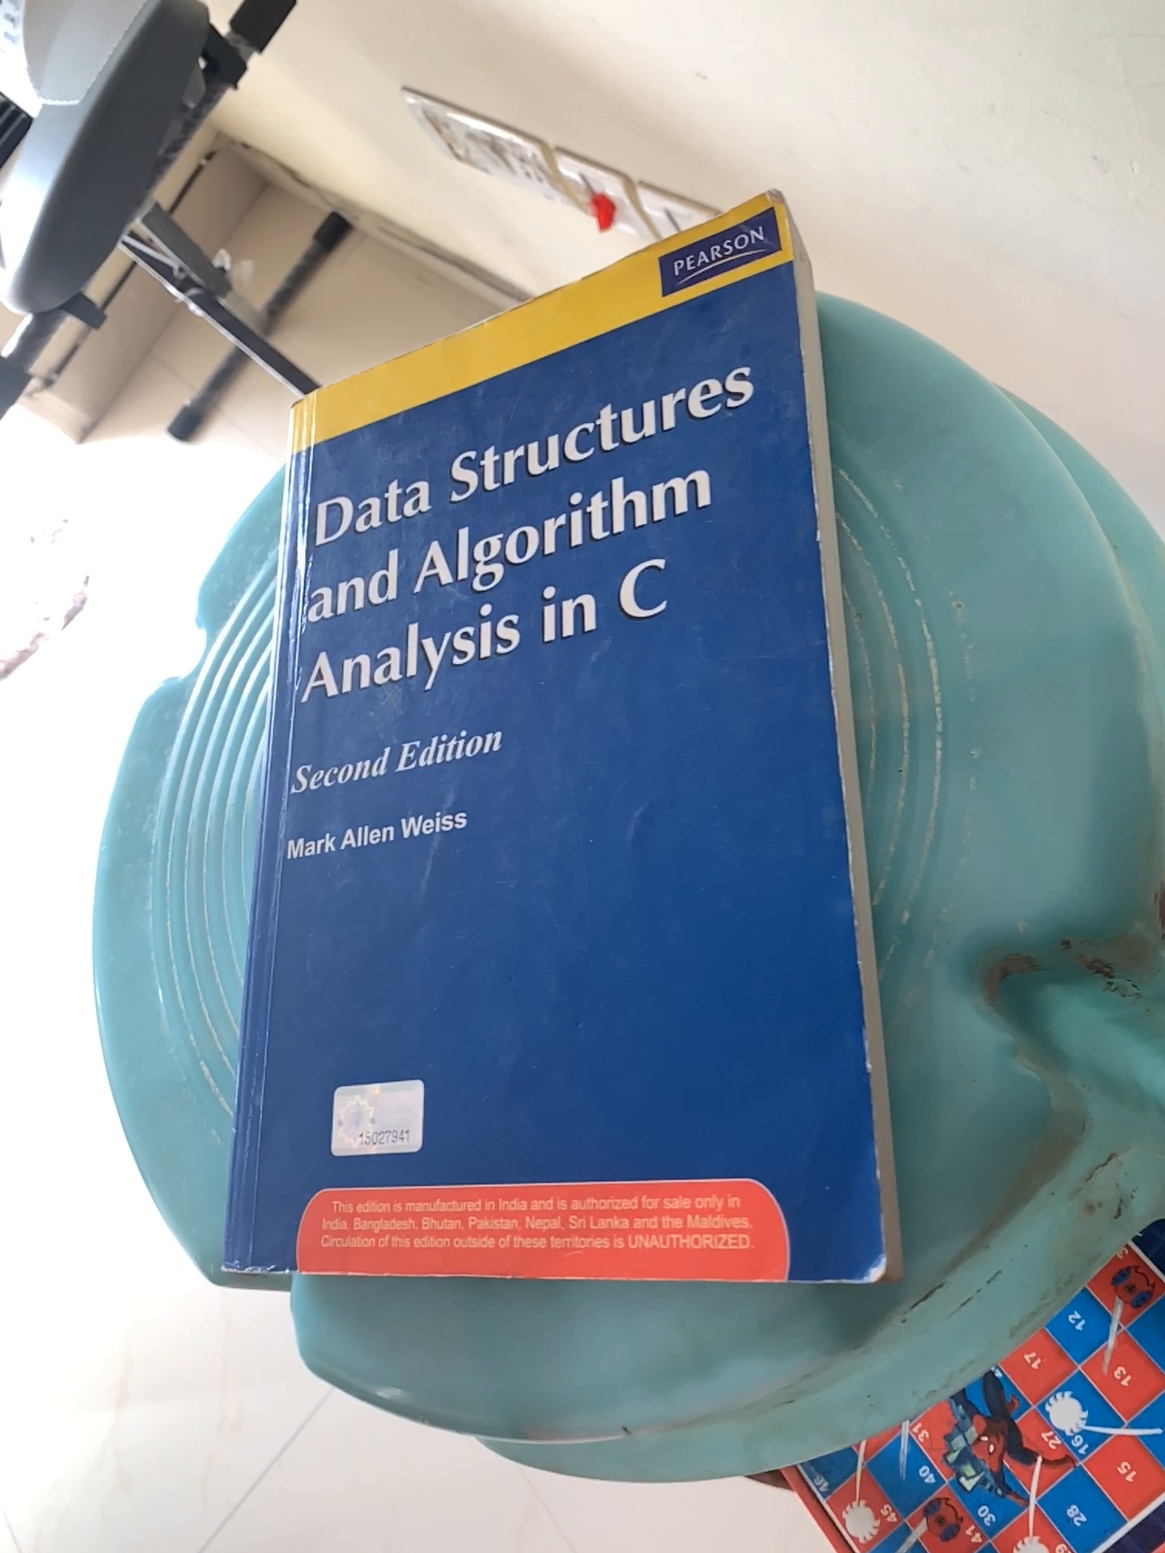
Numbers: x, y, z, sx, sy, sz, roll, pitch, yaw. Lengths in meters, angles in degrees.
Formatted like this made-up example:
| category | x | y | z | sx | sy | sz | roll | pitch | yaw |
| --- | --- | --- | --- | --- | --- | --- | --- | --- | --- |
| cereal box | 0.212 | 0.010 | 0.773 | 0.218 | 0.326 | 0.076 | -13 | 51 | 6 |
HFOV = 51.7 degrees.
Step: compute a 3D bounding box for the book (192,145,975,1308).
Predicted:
| category | x | y | z | sx | sy | sz | roll | pitch | yaw |
| --- | --- | --- | --- | --- | --- | --- | --- | --- | --- |
| book | -0.010 | -0.011 | 0.279 | 0.160 | 0.030 | 0.241 | -12 | 67 | 27 |
